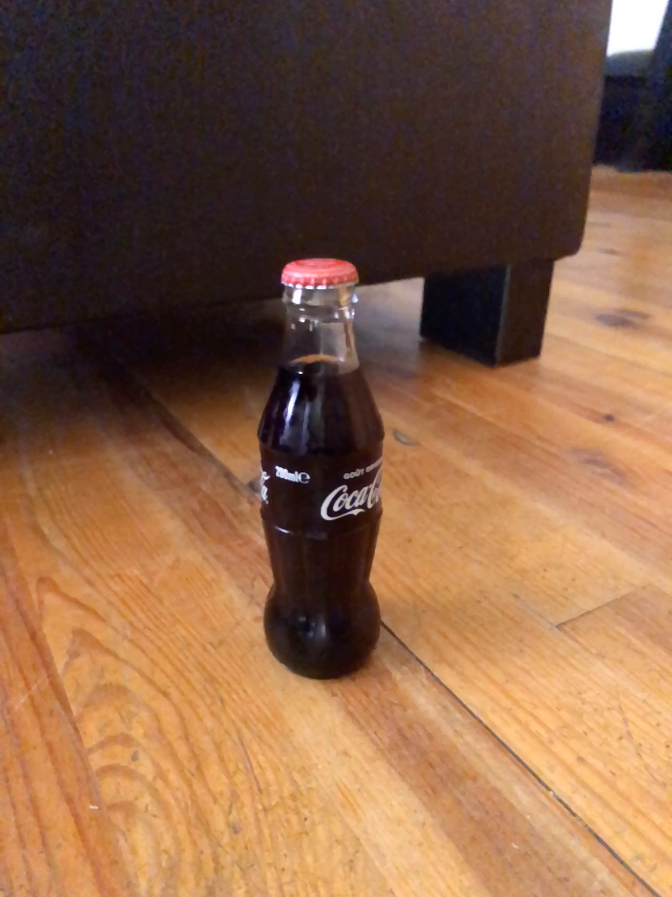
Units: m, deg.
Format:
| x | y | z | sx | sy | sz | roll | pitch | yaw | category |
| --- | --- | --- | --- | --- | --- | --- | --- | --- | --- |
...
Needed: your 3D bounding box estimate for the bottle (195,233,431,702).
| x | y | z | sx | sy | sz | roll | pitch | yaw | category |
| --- | --- | --- | --- | --- | --- | --- | --- | --- | --- |
| -0.009 | 0.006 | 0.303 | 0.060 | 0.169 | 0.060 | 0 | 24 | 0 | bottle |
